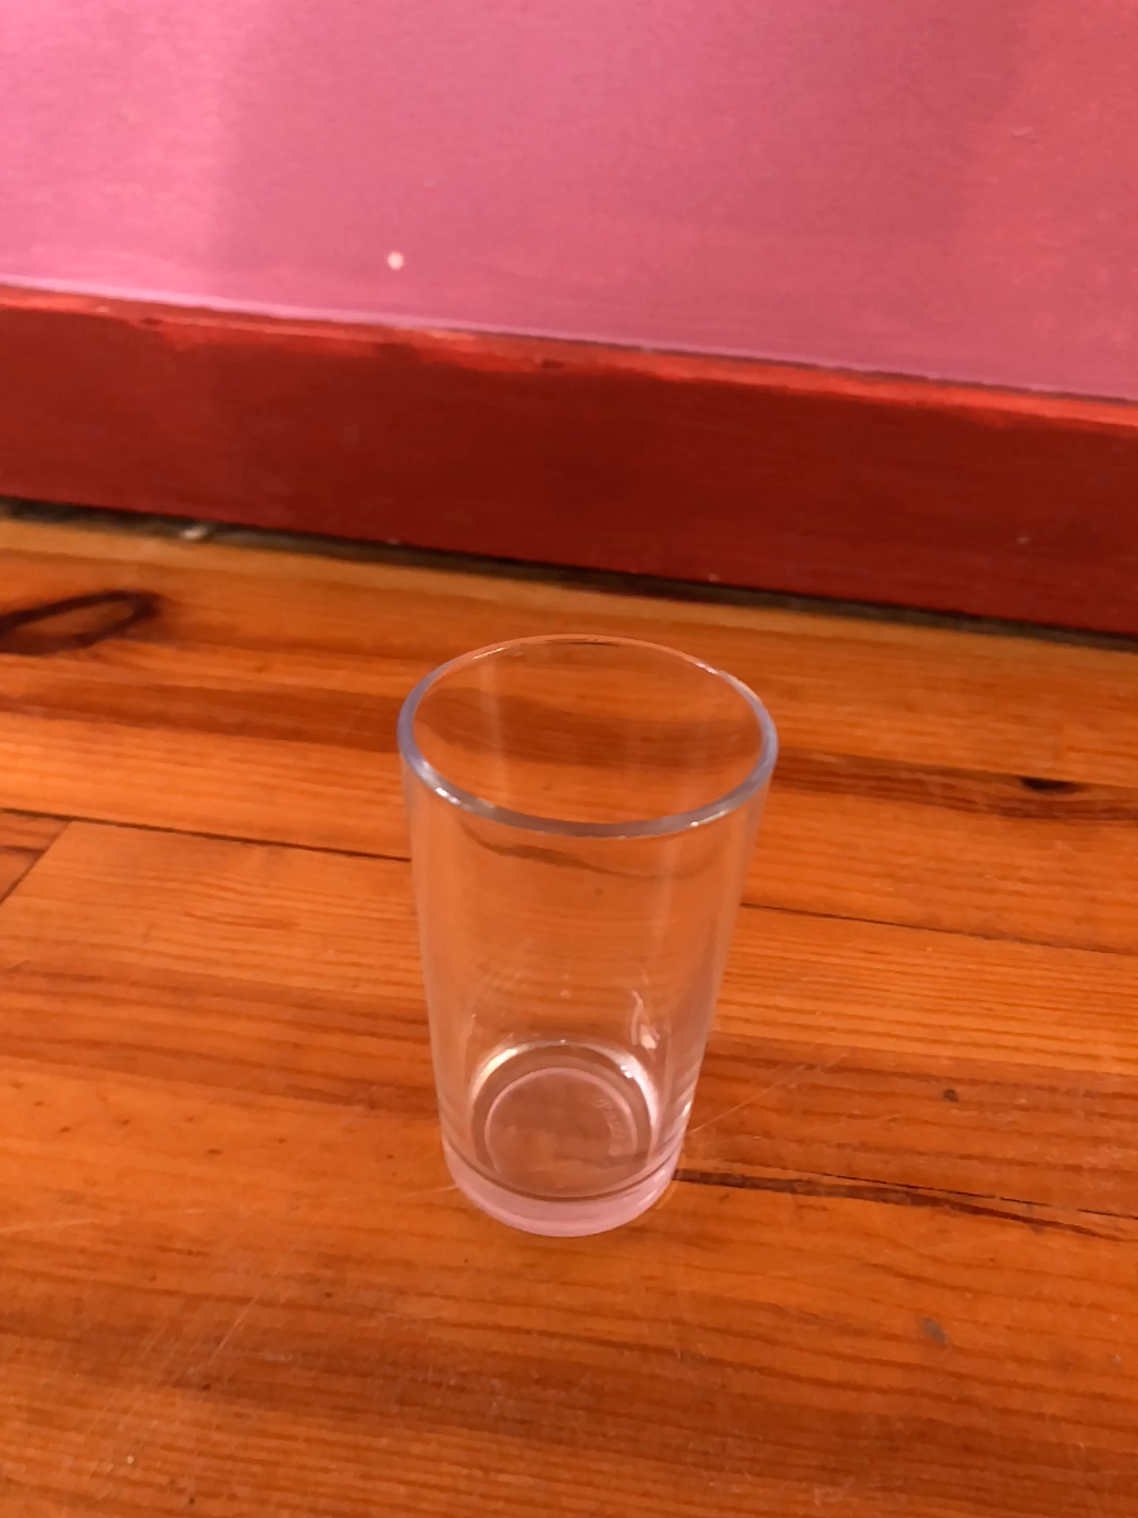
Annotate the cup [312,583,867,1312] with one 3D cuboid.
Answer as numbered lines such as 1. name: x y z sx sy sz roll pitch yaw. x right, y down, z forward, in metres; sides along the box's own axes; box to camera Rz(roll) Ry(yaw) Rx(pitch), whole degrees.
1. cup: 0.000 0.025 0.189 0.055 0.079 0.051 2 31 -1
